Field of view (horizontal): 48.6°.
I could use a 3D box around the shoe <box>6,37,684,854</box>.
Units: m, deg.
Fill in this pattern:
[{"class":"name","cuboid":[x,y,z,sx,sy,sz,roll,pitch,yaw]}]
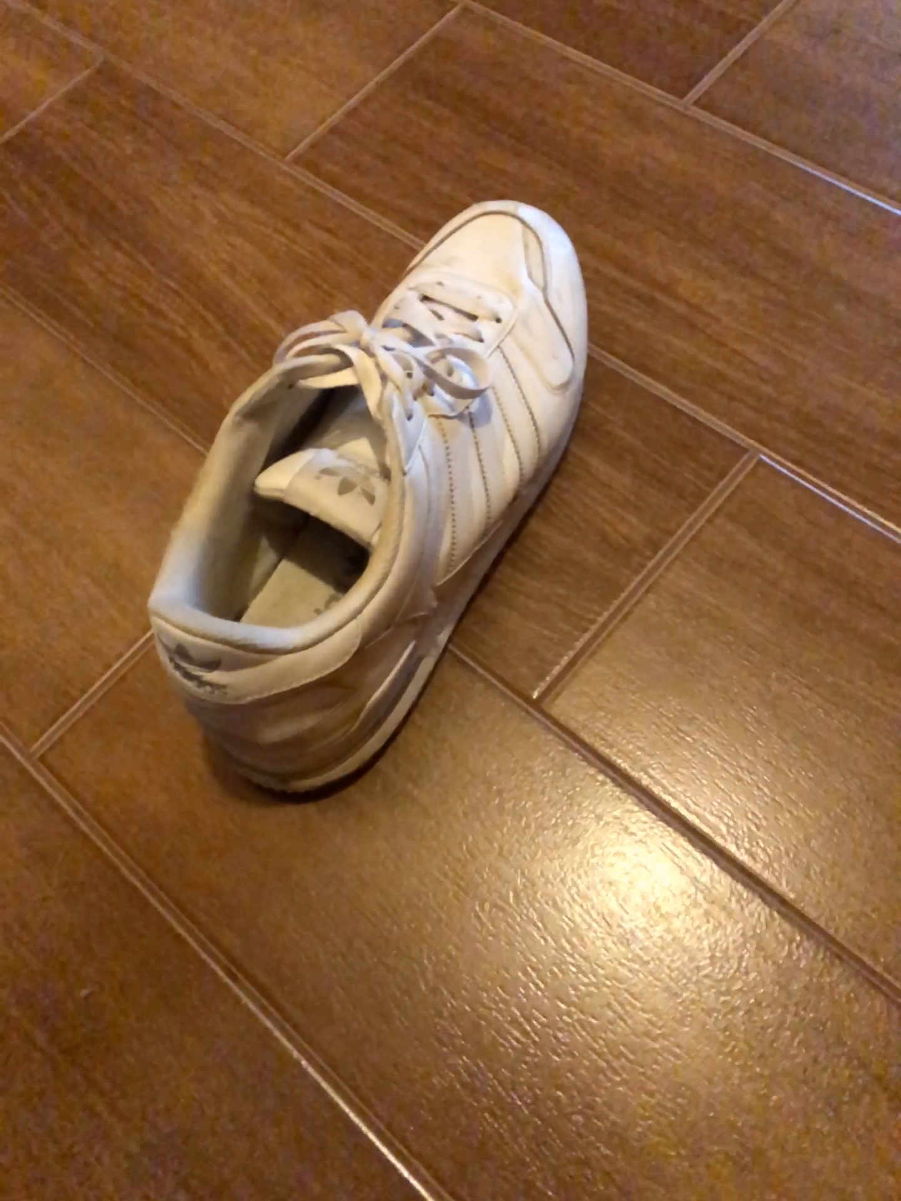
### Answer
[{"class":"shoe","cuboid":[-0.020,-0.072,0.424,0.120,0.120,0.311,22,70,16]}]
